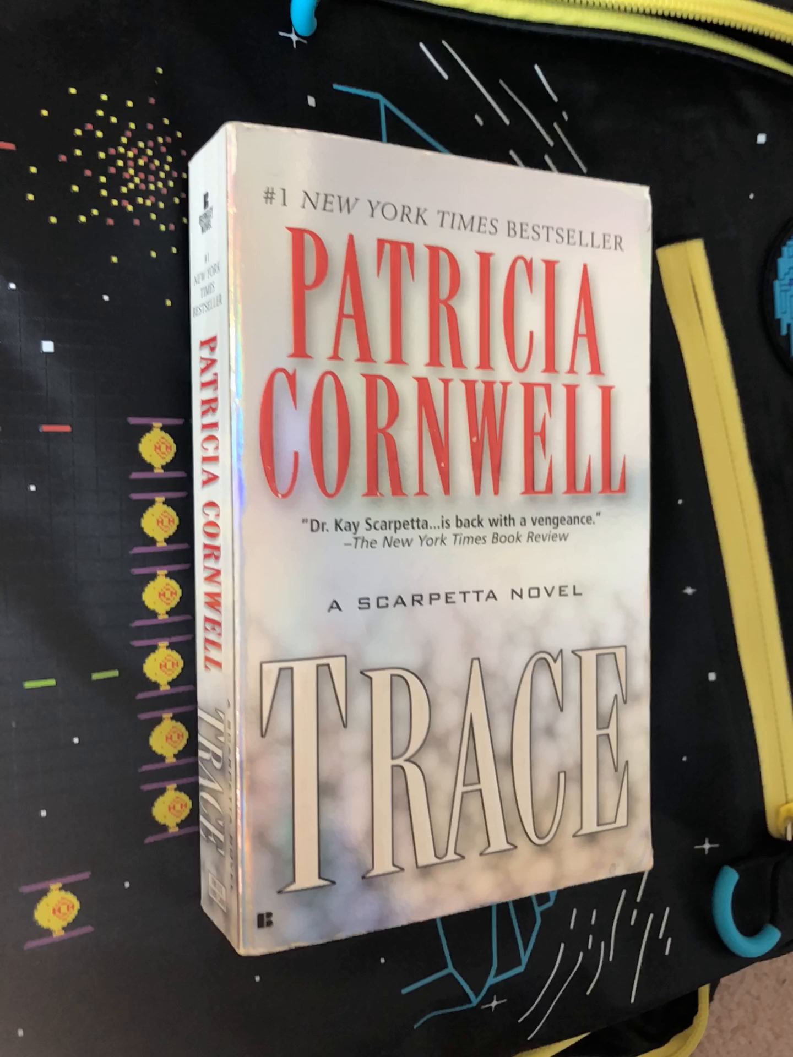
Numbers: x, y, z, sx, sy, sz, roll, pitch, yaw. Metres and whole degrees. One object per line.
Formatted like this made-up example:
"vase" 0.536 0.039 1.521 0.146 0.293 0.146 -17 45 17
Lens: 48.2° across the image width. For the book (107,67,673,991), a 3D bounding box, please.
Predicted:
"book" 0.000 -0.001 0.203 0.120 0.040 0.170 -2 92 -21
